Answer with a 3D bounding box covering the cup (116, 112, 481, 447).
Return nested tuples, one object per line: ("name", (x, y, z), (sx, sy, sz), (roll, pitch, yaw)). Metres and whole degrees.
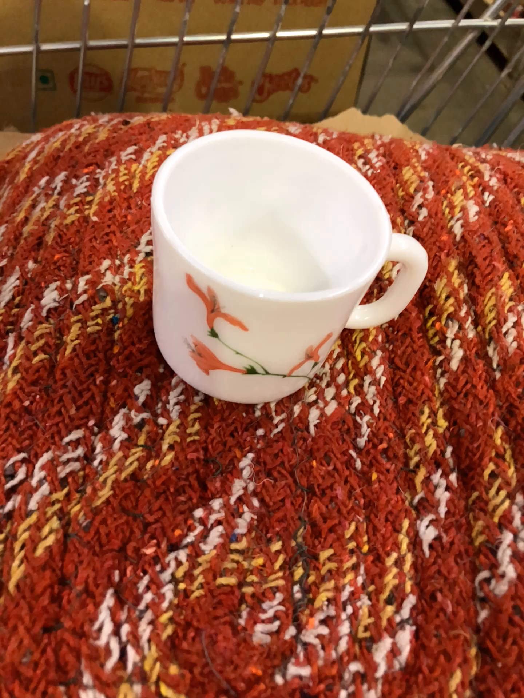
("cup", (0.002, -0.018, 0.170), (0.080, 0.060, 0.070), (1, 52, -11))
